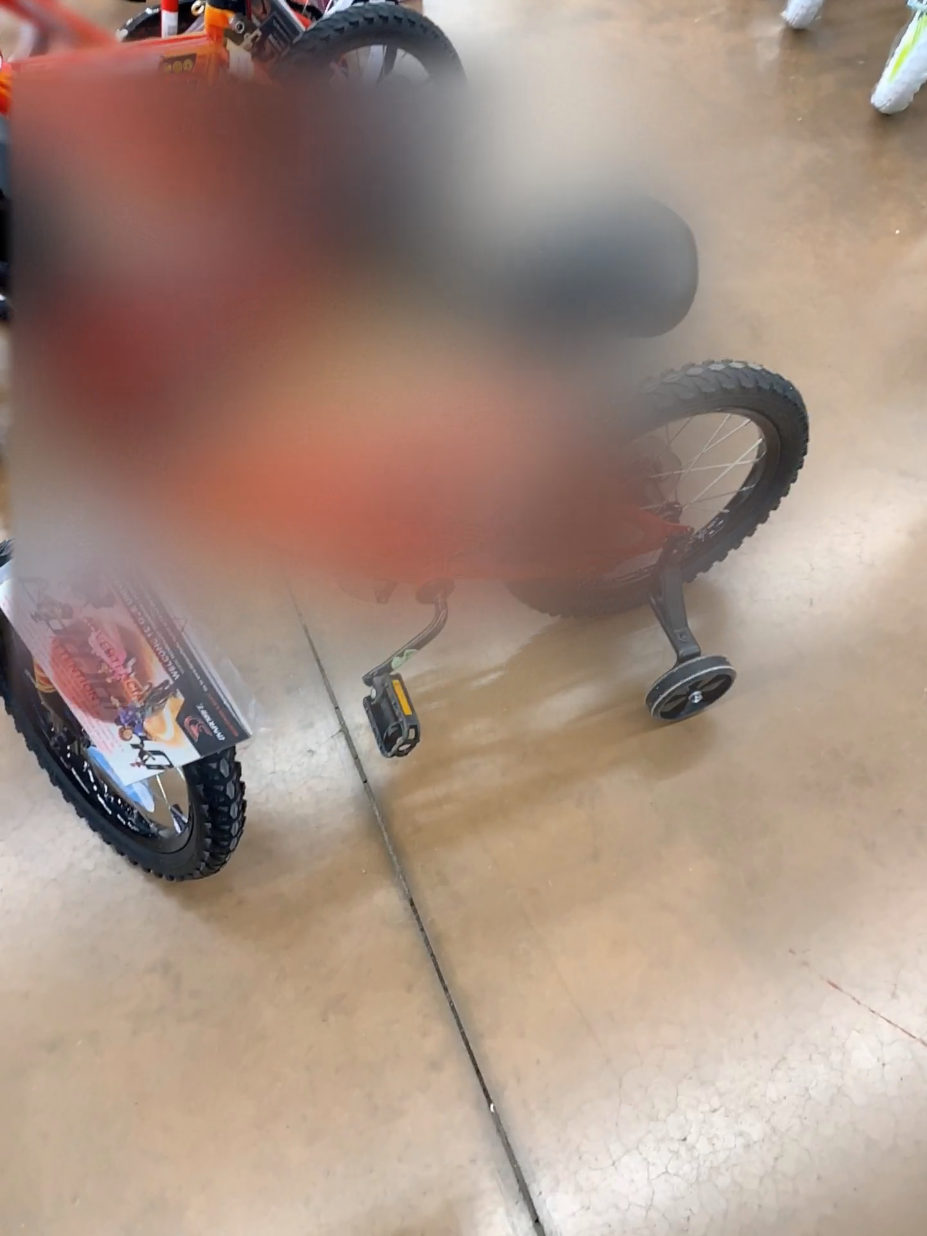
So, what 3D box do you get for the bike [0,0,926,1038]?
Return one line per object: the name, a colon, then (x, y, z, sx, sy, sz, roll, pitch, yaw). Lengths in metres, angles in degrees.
bike: (0.016, -0.126, 0.971, 0.740, 0.824, 0.511, -31, 61, -12)
